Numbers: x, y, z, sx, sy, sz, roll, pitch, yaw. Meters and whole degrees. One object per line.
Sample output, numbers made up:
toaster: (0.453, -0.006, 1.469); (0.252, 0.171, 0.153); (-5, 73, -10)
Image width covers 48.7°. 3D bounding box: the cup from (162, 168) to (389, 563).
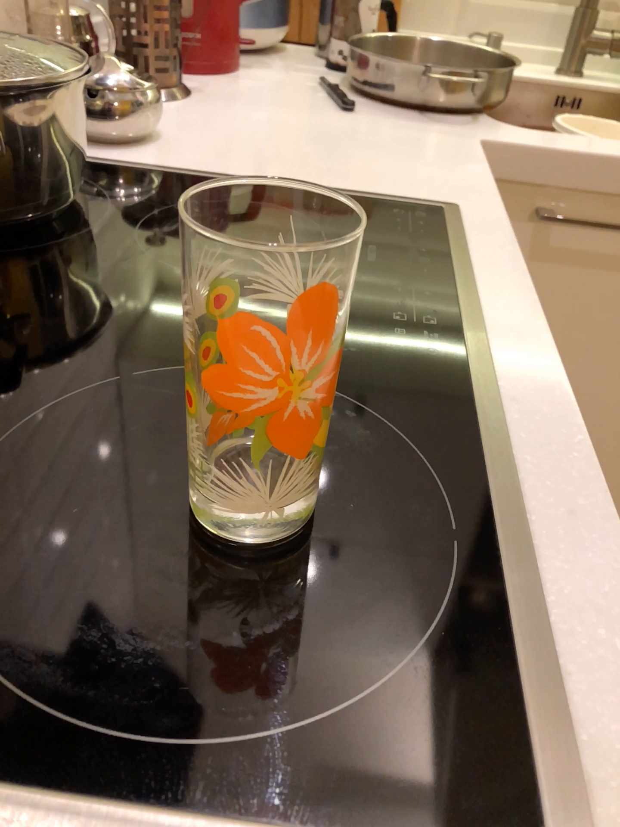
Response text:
cup: (-0.019, -0.013, 0.266); (0.066, 0.138, 0.063); (4, 36, -3)
